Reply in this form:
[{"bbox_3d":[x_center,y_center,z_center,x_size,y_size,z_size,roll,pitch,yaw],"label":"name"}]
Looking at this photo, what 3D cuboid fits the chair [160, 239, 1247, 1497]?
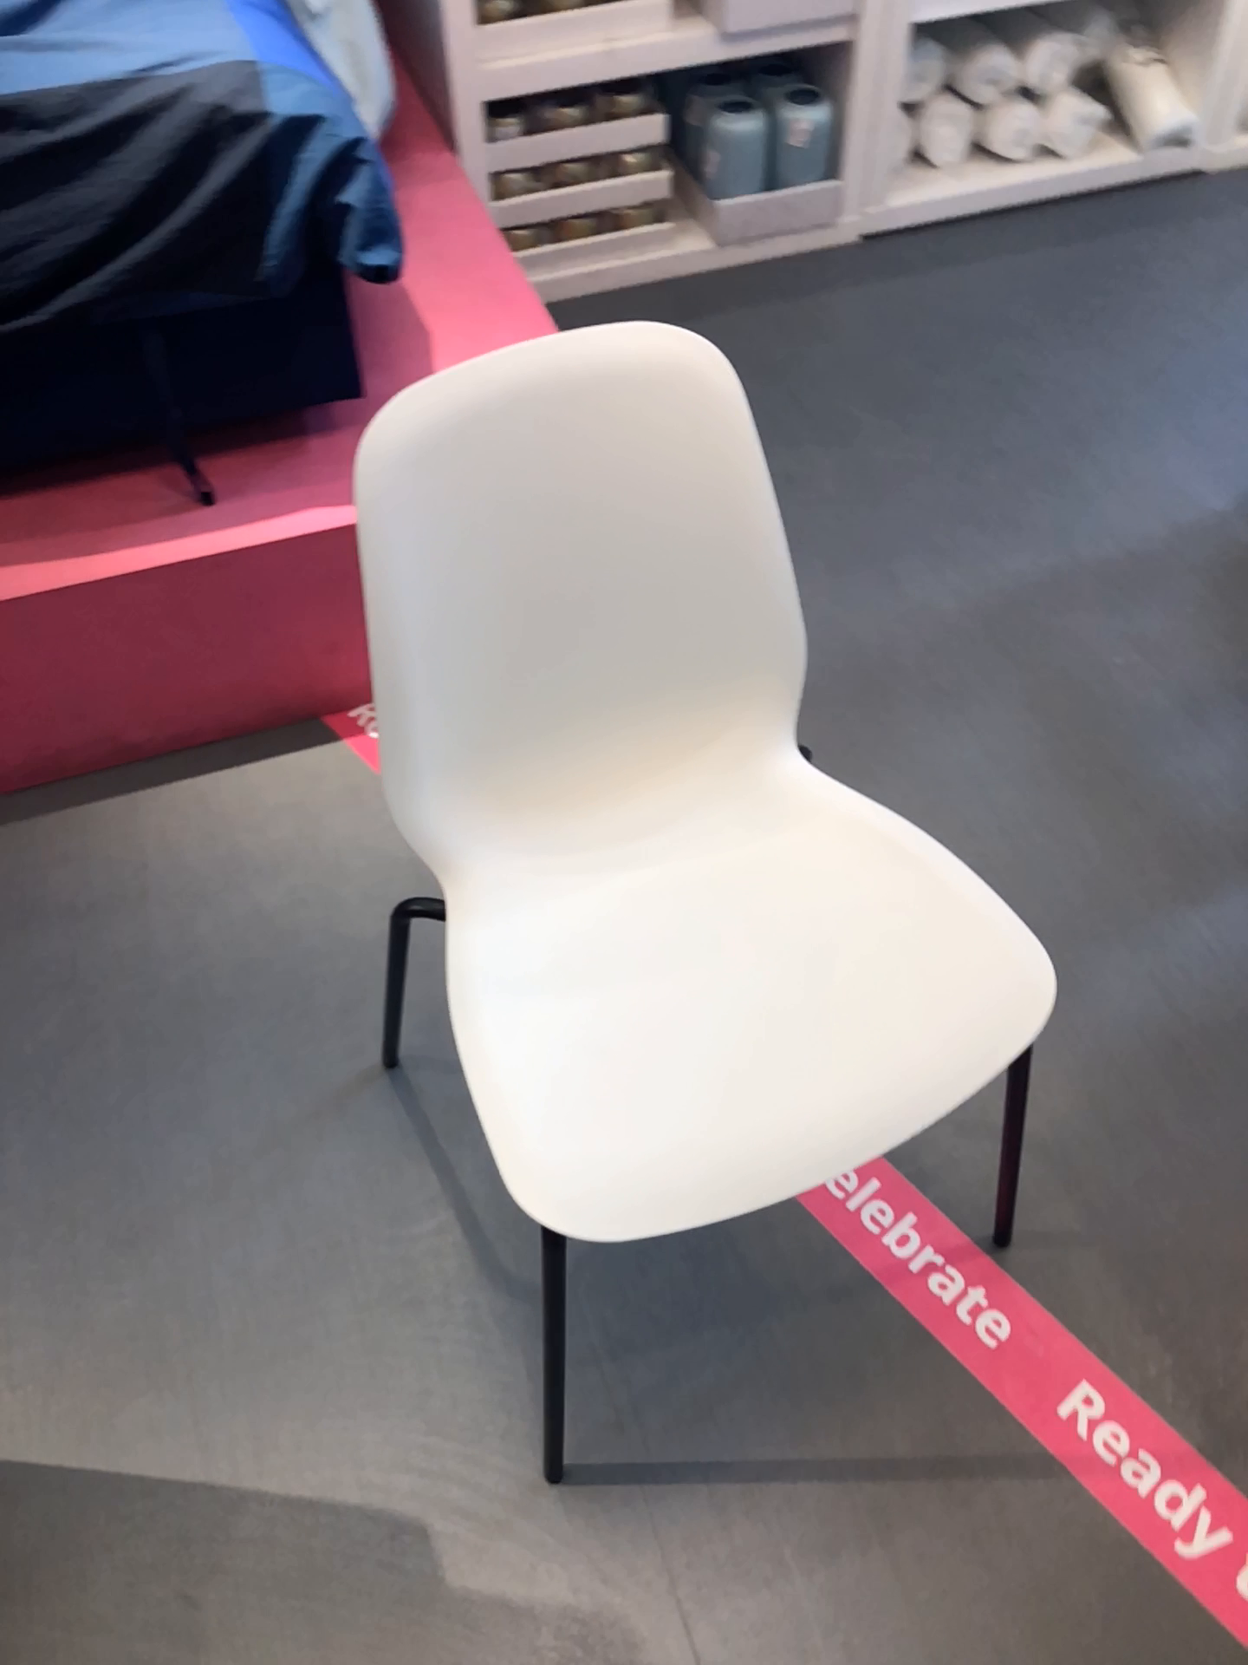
[{"bbox_3d":[0.048,0.063,1.087,0.510,0.756,0.492,-21,53,-16],"label":"chair"}]
